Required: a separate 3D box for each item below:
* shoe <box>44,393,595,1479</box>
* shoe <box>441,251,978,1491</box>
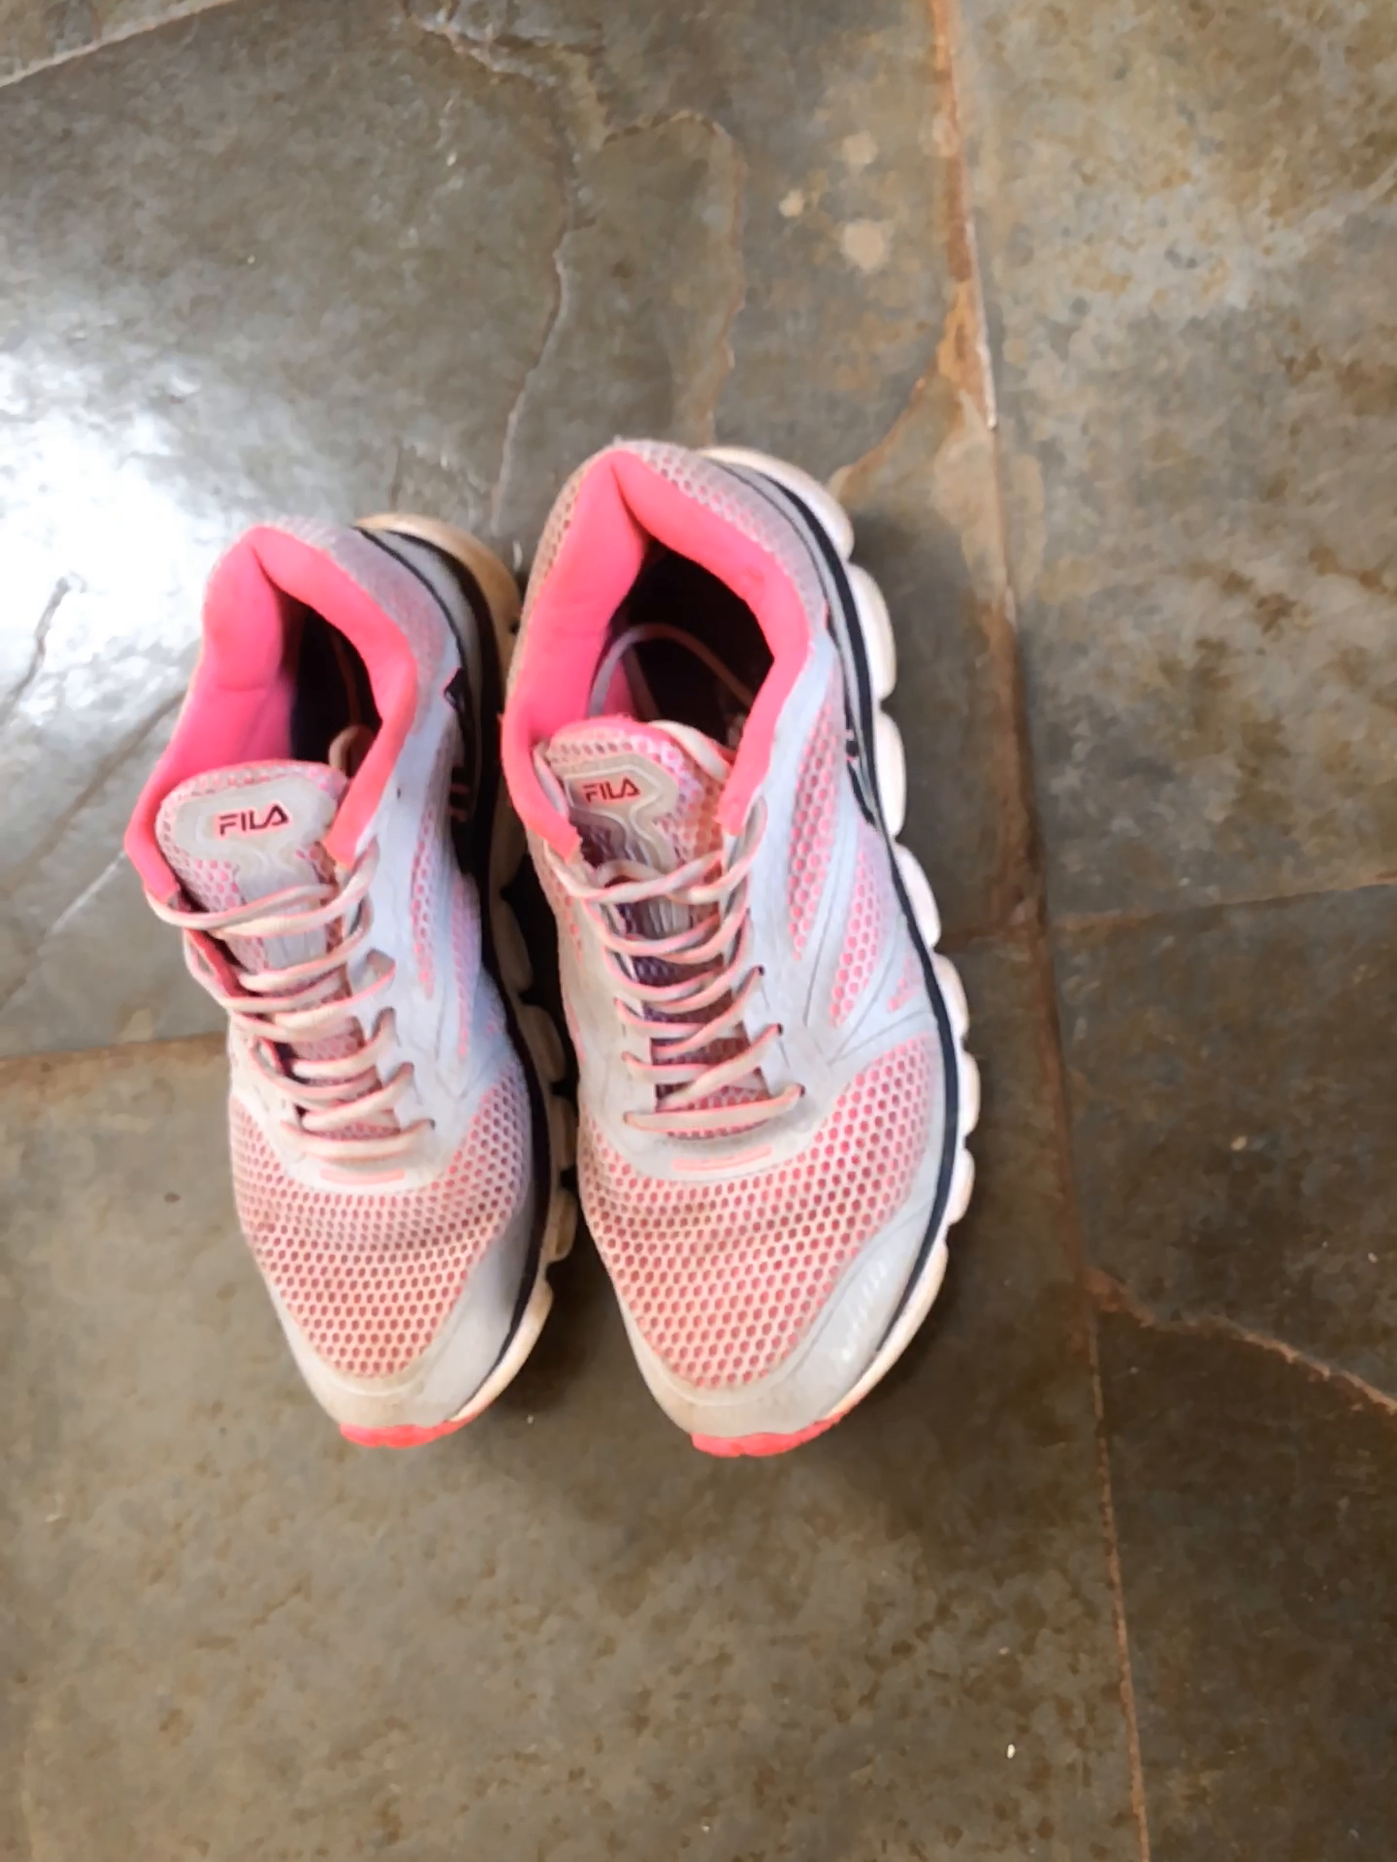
[{"bbox_3d":[-0.111,0.006,0.461,0.110,0.100,0.280,-7,82,19],"label":"shoe"},{"bbox_3d":[0.005,-0.012,0.424,0.110,0.100,0.290,-4,83,20],"label":"shoe"}]
